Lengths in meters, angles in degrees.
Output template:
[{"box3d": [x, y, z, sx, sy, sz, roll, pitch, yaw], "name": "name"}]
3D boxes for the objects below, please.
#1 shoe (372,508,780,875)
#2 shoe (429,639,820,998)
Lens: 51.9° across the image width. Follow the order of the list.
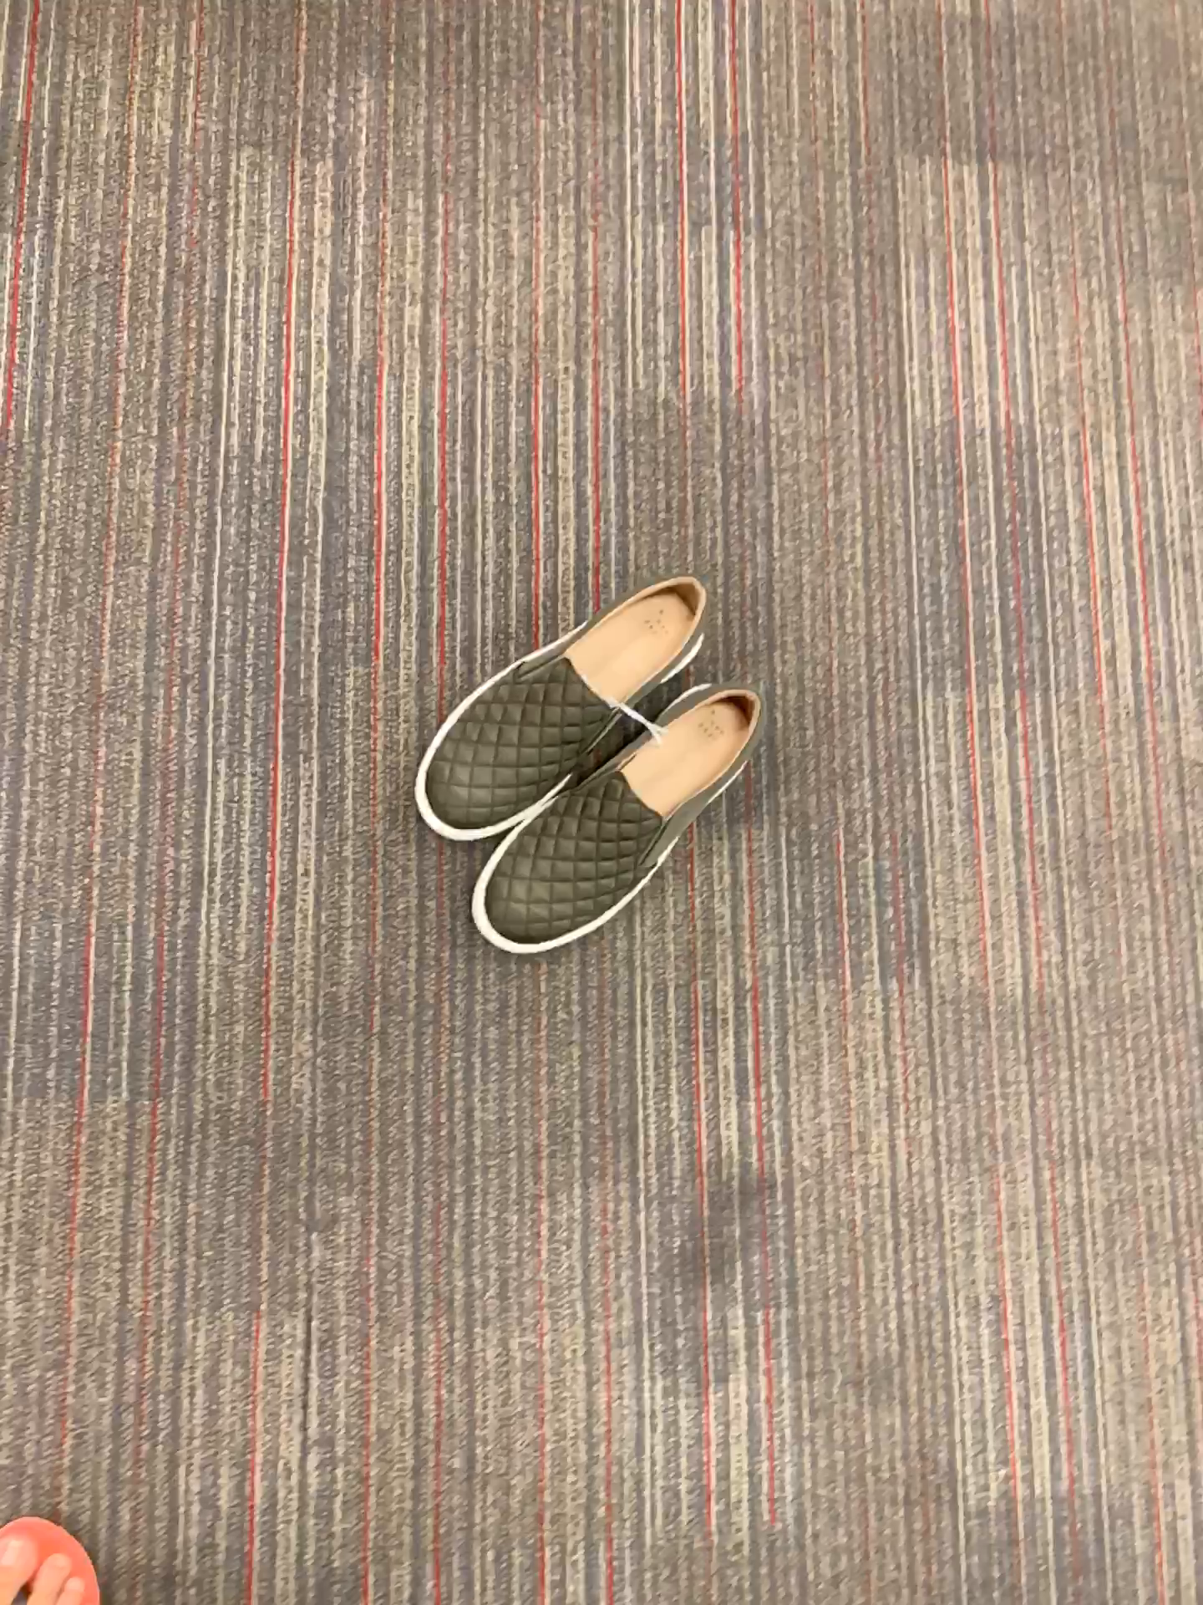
[{"box3d": [-0.024, -0.080, 0.931, 0.290, 0.130, 0.100, -38, 91, -14], "name": "shoe"}, {"box3d": [0.015, 0.014, 0.952, 0.290, 0.110, 0.100, -41, 92, -14], "name": "shoe"}]
